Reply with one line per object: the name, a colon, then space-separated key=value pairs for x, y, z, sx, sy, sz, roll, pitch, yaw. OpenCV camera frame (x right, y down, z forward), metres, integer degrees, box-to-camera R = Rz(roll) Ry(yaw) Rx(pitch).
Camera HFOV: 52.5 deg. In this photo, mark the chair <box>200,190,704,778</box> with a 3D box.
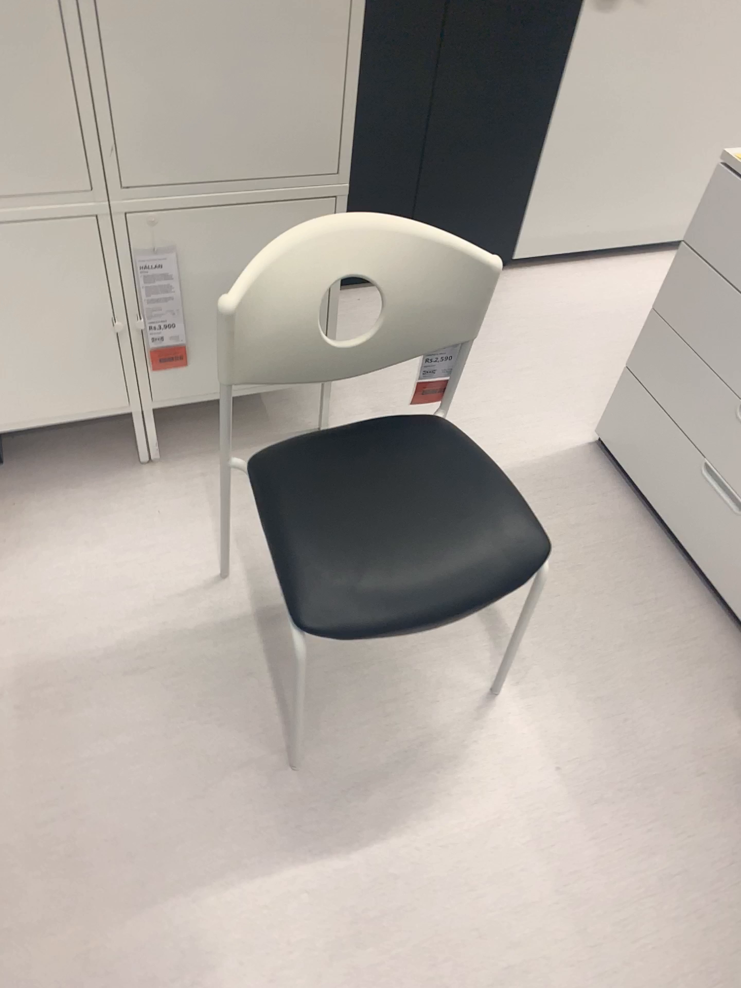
chair: x=0.043 y=0.004 z=1.265 sx=0.480 sy=0.767 sz=0.511 roll=-15 pitch=52 yaw=-21
